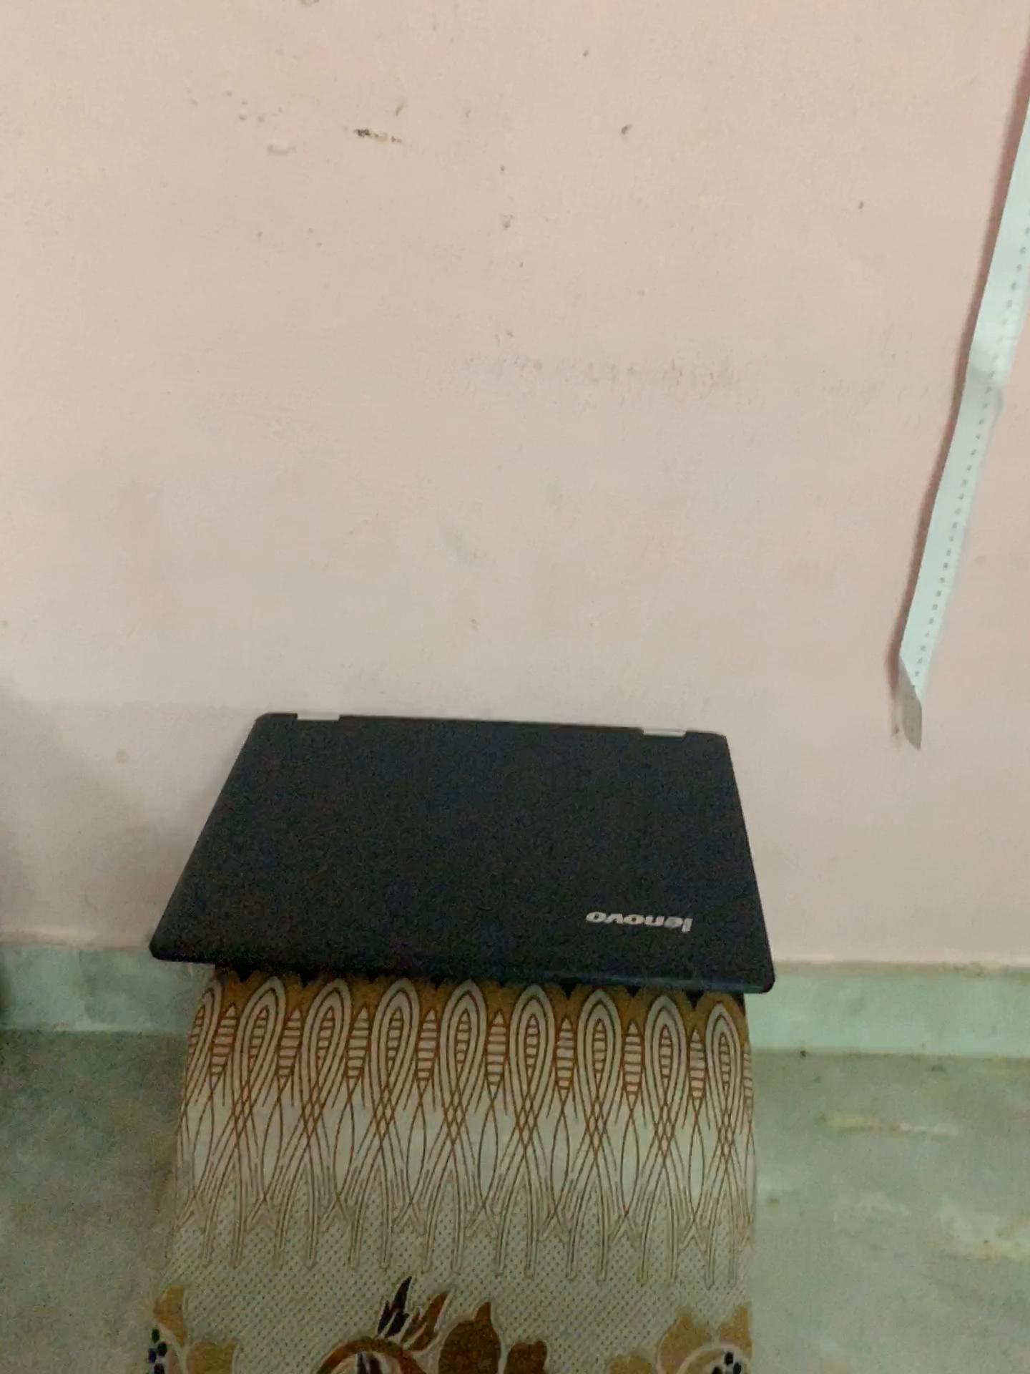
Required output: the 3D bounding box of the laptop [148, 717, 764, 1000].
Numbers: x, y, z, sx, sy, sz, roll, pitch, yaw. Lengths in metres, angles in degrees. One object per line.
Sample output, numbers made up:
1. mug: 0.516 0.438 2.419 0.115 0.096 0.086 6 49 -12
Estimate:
1. laptop: -0.024 0.089 0.625 0.312 0.012 0.214 2 33 2
